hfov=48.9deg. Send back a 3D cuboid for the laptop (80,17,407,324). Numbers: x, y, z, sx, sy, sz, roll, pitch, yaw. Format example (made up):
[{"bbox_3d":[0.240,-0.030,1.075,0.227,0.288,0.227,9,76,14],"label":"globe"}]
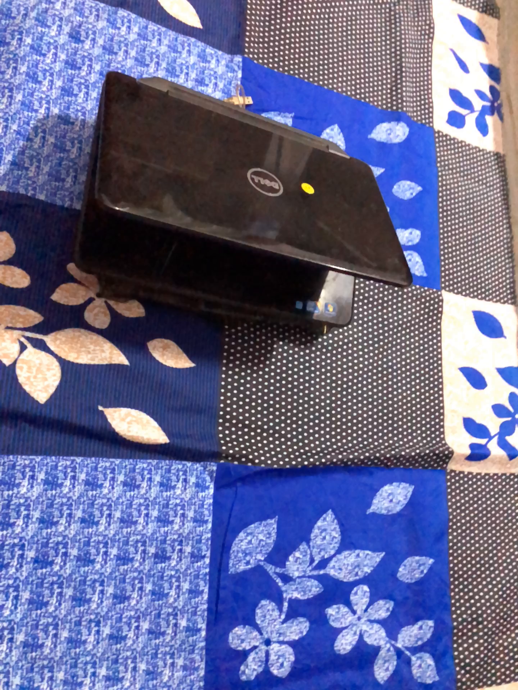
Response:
[{"bbox_3d":[-0.003,-0.183,0.684,0.363,0.092,0.236,11,79,-25],"label":"laptop"}]
